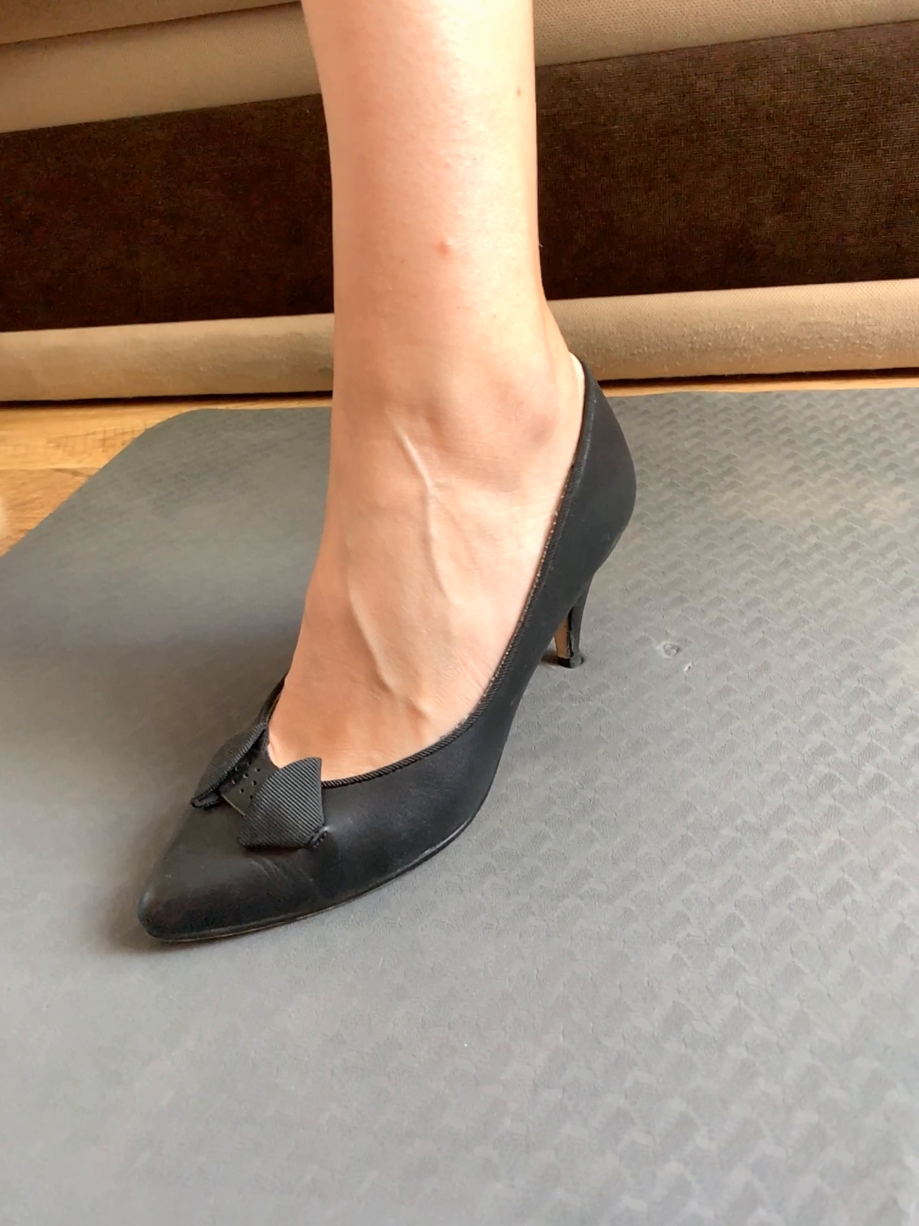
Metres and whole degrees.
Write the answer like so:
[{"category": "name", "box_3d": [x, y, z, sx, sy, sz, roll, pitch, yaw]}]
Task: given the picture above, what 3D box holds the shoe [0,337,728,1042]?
[{"category": "shoe", "box_3d": [-0.021, 0.003, 0.307, 0.230, 0.099, 0.090, -32, 41, -30]}]
